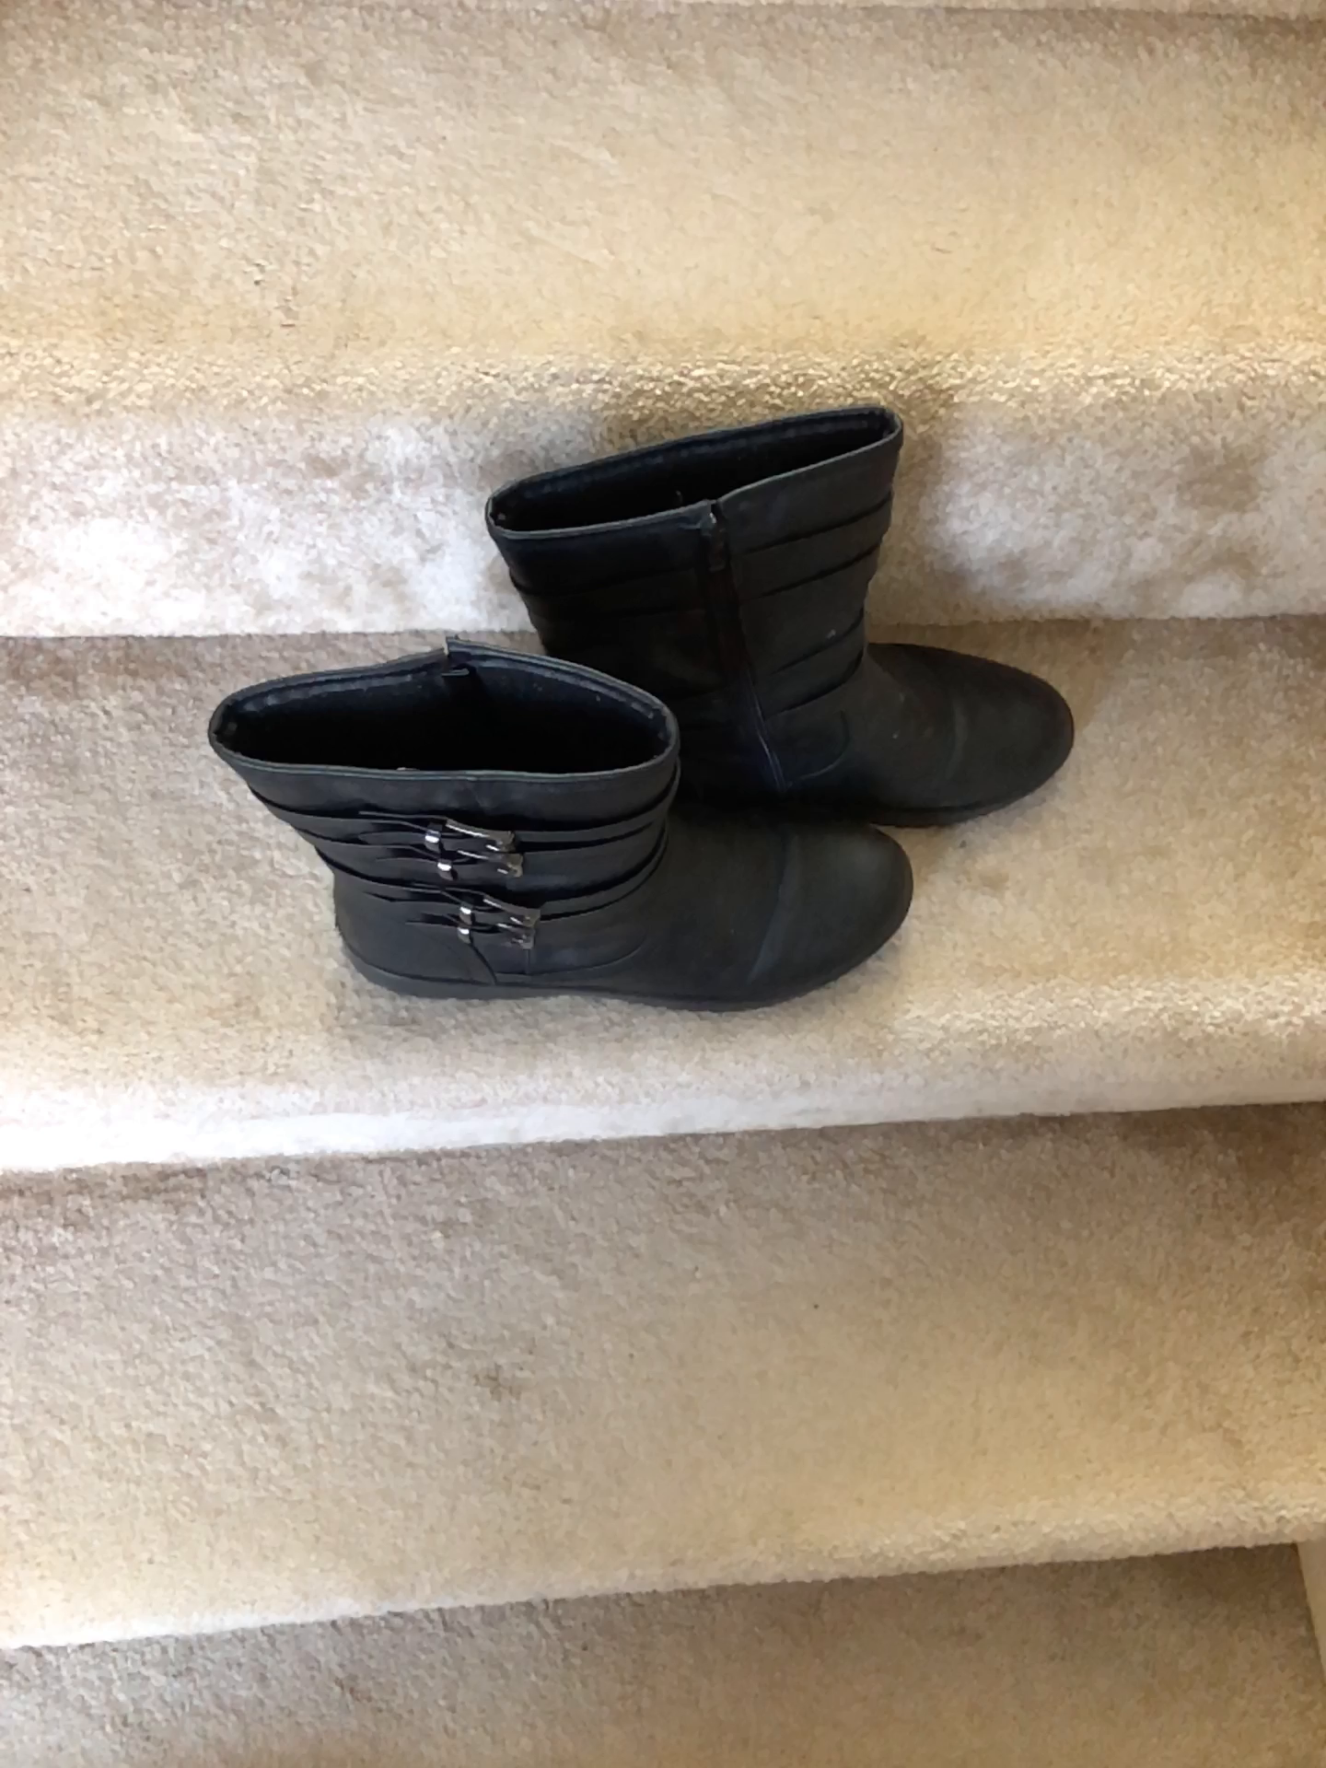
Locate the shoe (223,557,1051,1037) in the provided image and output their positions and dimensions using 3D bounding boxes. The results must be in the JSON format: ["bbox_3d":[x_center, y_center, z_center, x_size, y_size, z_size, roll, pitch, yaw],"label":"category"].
[{"bbox_3d":[-0.013,-0.022,0.588,0.270,0.199,0.100,2,65,-4],"label":"shoe"}]

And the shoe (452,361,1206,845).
[{"bbox_3d":[0.061,-0.111,0.645,0.270,0.219,0.100,0,65,1],"label":"shoe"}]
